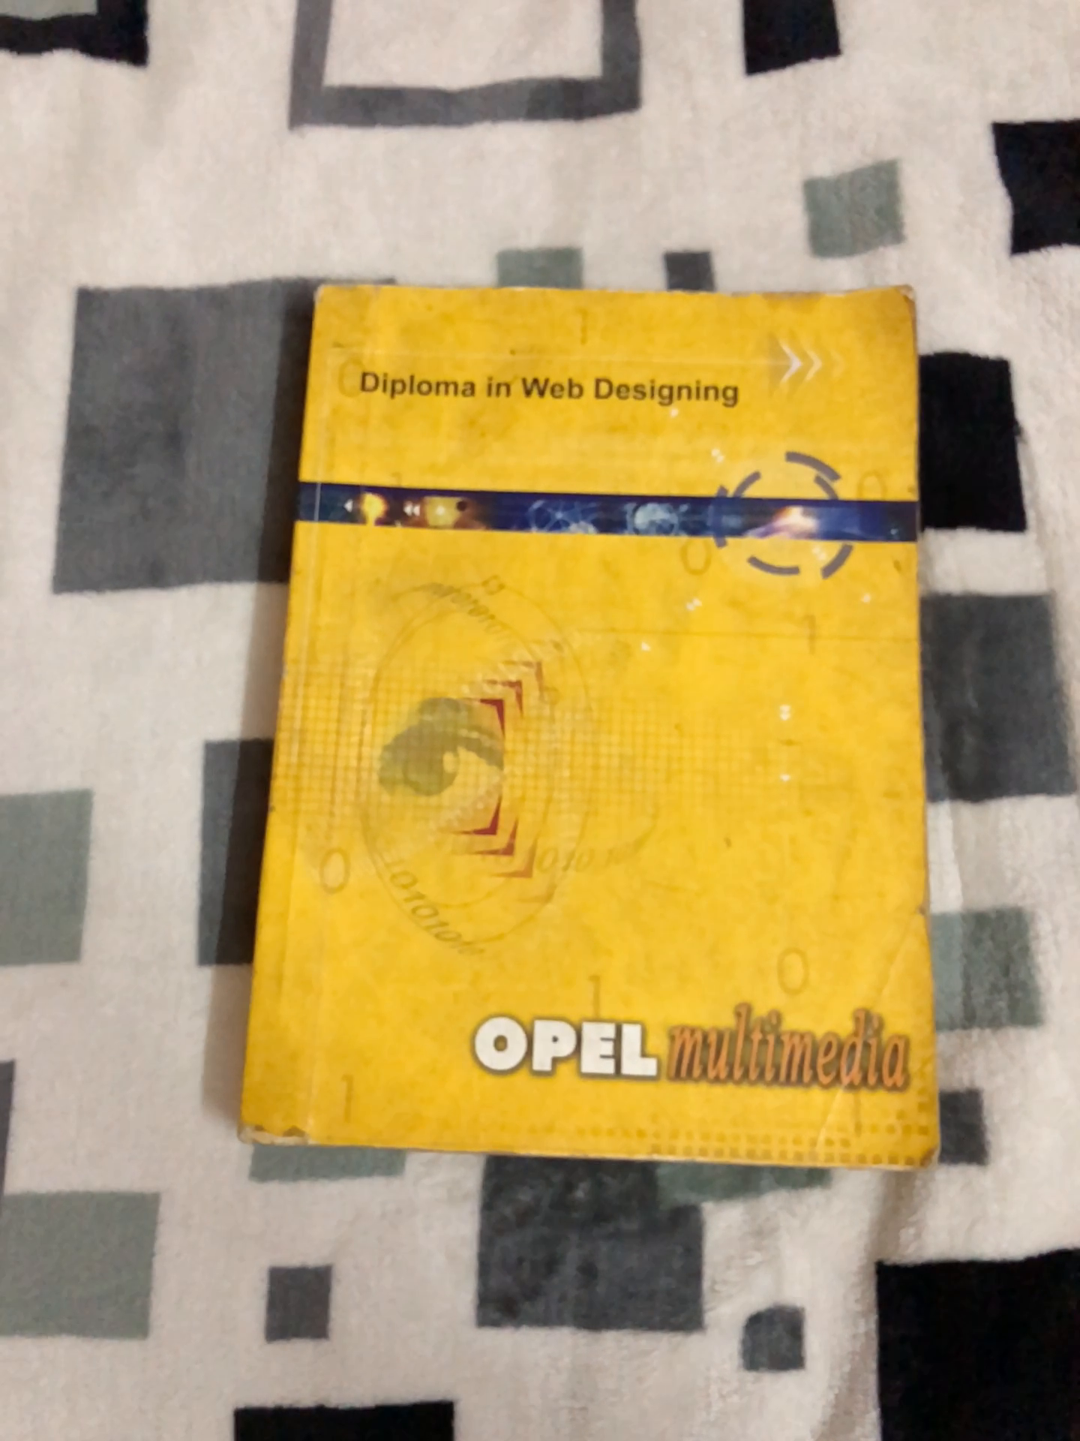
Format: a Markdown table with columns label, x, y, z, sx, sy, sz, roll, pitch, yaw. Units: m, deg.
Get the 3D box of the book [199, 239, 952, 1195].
| label | x | y | z | sx | sy | sz | roll | pitch | yaw |
| --- | --- | --- | --- | --- | --- | --- | --- | --- | --- |
| book | 0.017 | -0.010 | 0.423 | 0.220 | 0.070 | 0.310 | 2 | 76 | 3 |
